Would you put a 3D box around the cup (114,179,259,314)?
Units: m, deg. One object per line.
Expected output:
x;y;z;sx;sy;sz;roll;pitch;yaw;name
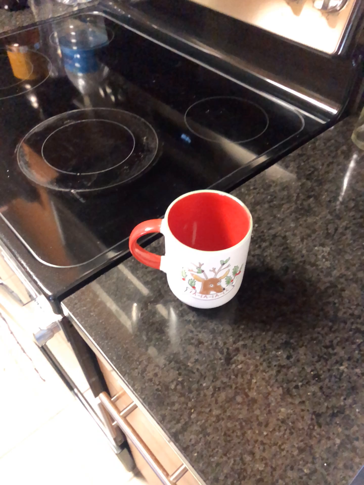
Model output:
0.006;0.006;0.432;0.130;0.110;0.090;2;48;2;cup
